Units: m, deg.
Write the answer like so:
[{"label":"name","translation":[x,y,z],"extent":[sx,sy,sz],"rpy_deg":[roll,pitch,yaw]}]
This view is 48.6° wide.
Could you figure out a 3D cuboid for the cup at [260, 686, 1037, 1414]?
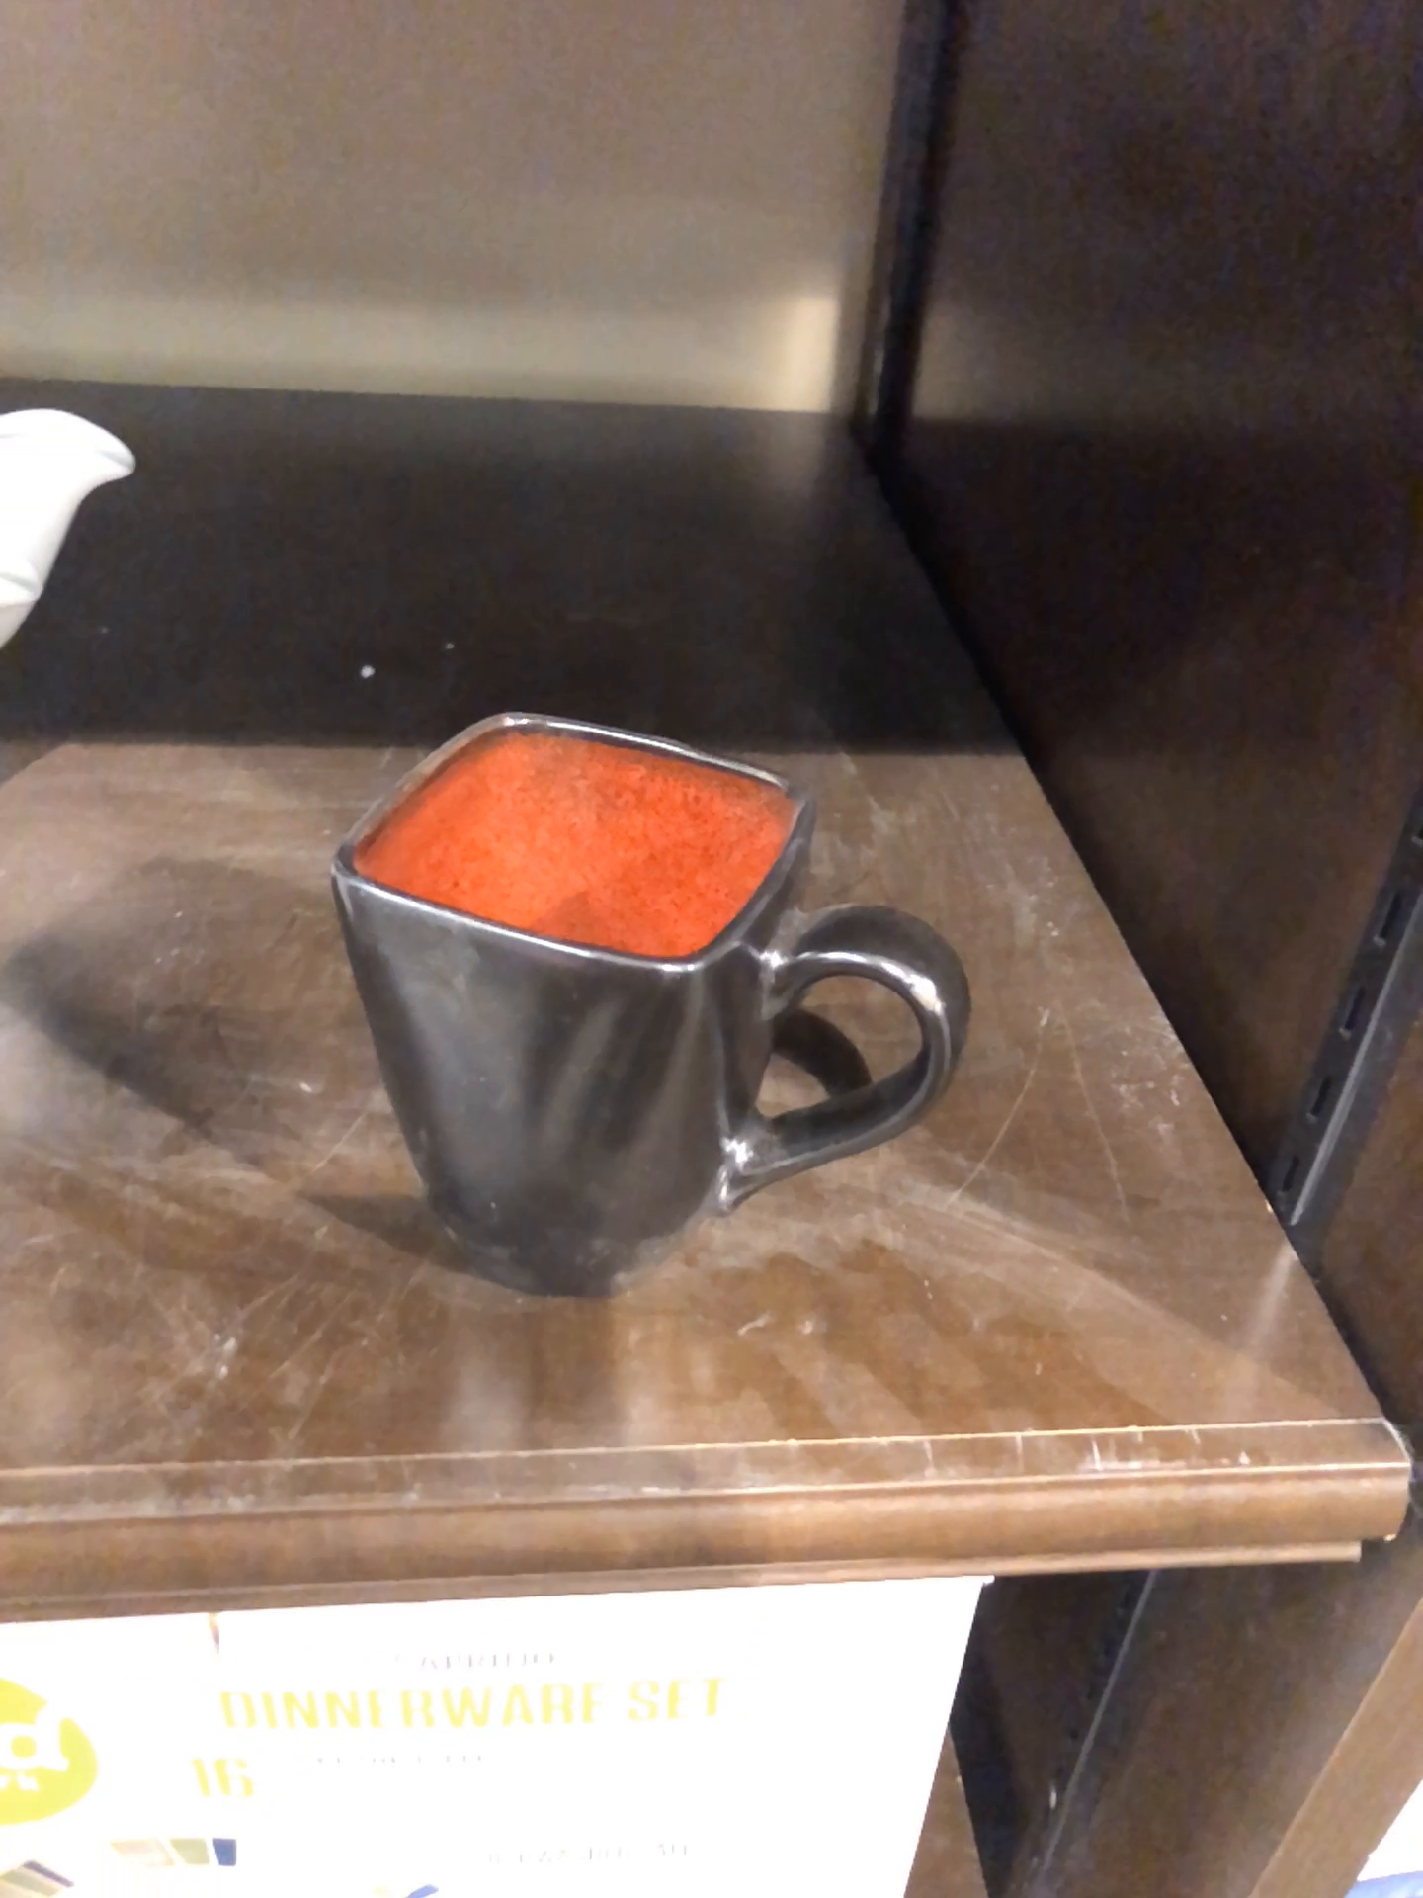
[{"label":"cup","translation":[-0.010,0.014,0.327],"extent":[0.123,0.083,0.095],"rpy_deg":[15,35,15]}]
